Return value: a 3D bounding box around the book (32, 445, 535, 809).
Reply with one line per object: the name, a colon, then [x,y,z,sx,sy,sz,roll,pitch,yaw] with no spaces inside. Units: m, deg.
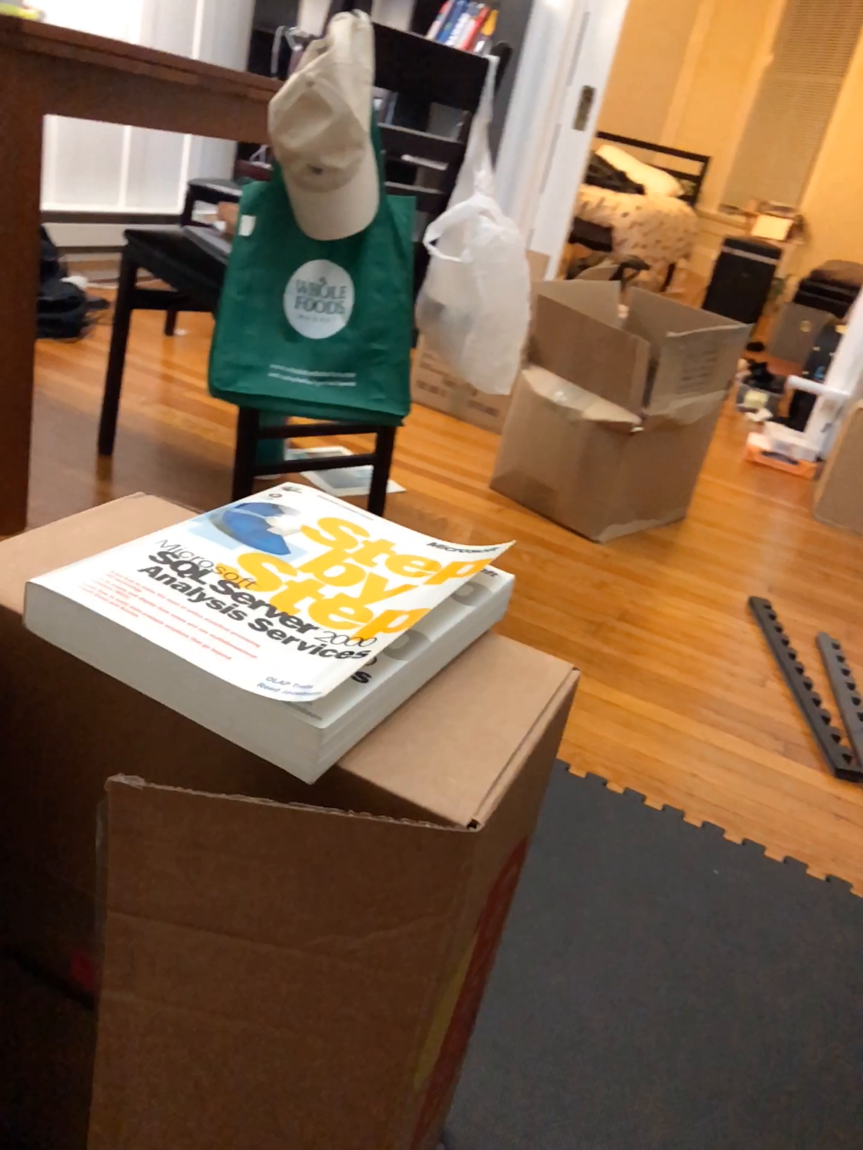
book: [-0.070,0.009,0.570,0.200,0.050,0.241,23,28,13]
